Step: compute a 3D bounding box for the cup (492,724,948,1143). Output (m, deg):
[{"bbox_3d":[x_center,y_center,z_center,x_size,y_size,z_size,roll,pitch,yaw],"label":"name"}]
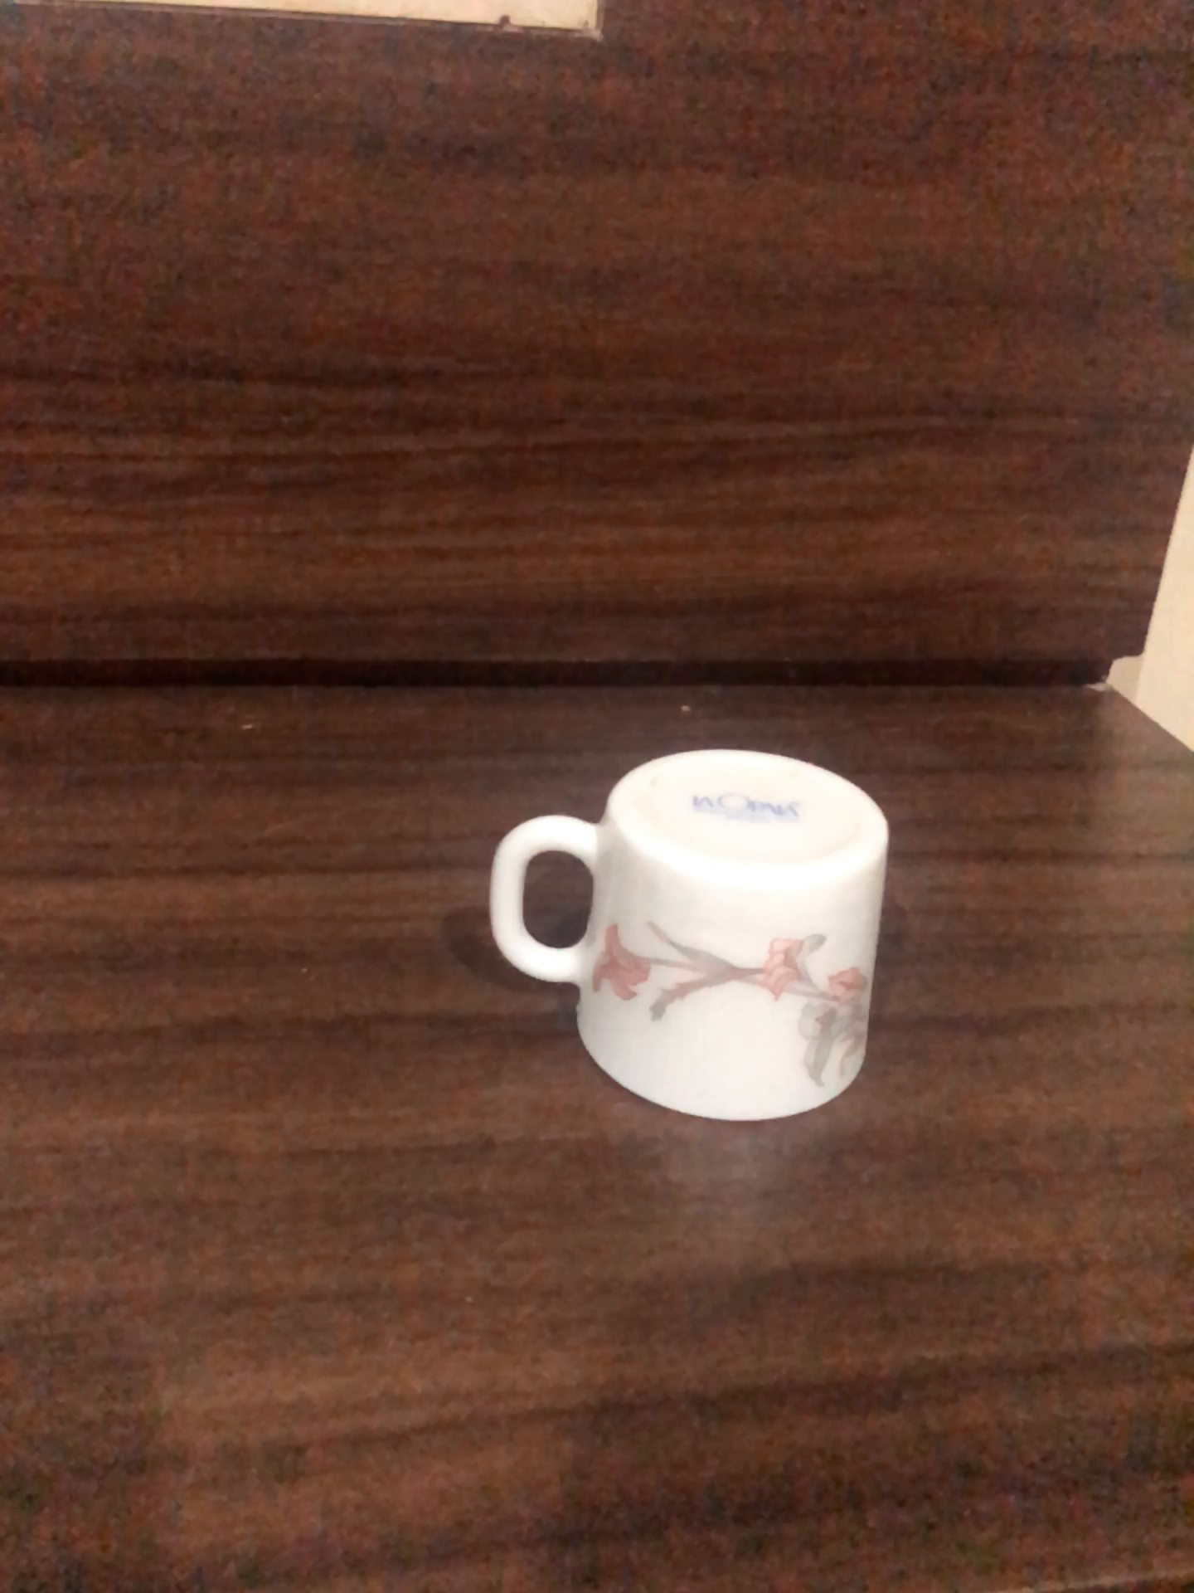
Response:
[{"bbox_3d":[0.023,0.030,0.304,0.090,0.070,0.060,3,30,-1],"label":"cup"}]
